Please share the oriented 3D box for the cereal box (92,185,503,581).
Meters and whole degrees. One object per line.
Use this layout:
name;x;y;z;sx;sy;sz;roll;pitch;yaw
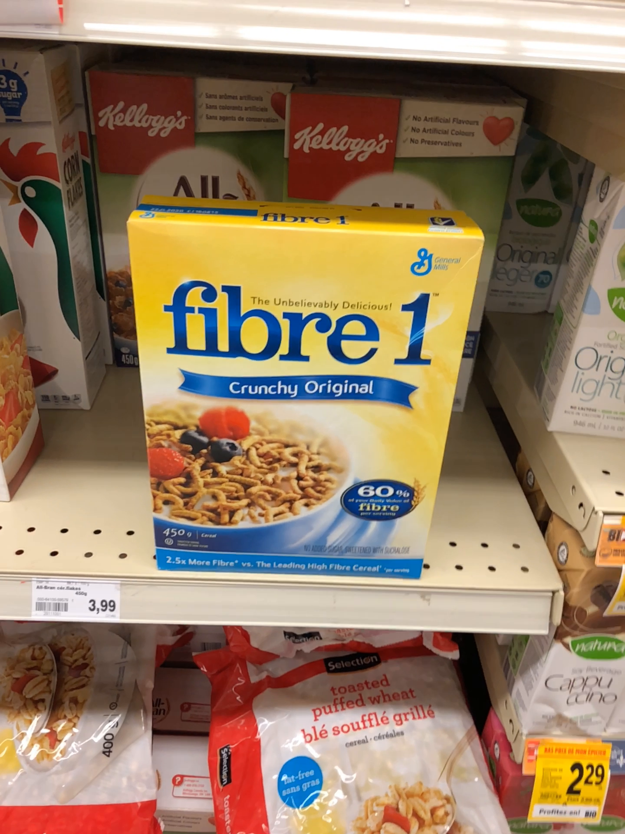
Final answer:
cereal box;-0.013;-0.009;0.444;0.210;0.248;0.060;2;32;-2
